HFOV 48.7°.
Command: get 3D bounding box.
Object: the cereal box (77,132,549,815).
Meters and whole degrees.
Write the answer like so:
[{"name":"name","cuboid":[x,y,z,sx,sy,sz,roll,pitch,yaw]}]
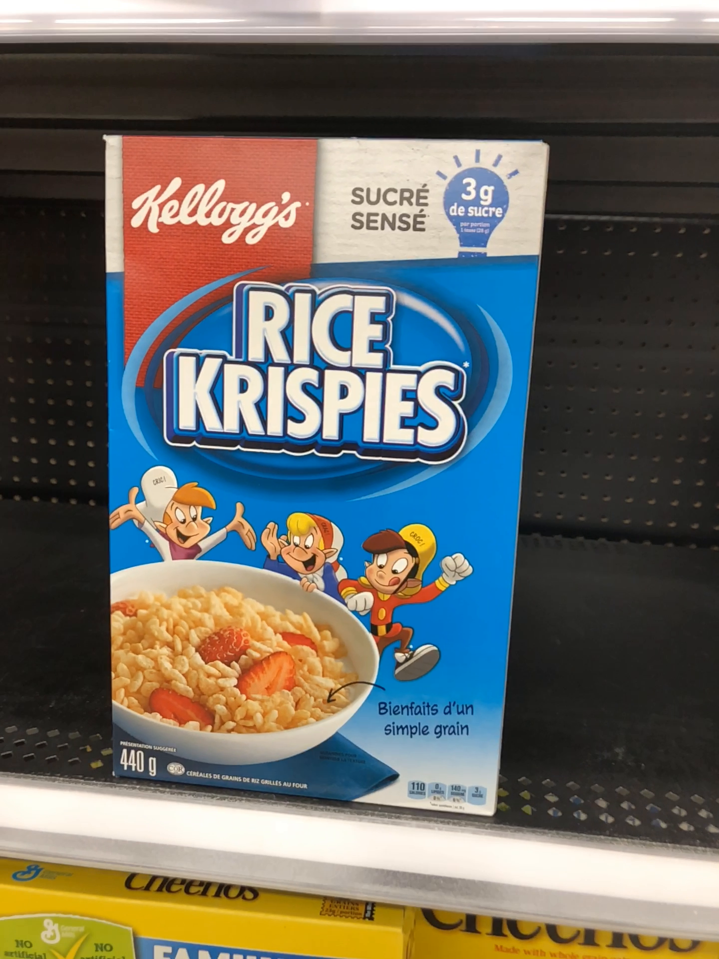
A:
[{"name":"cereal box","cuboid":[-0.023,-0.004,0.396,0.200,0.299,0.080,4,10,7]}]
